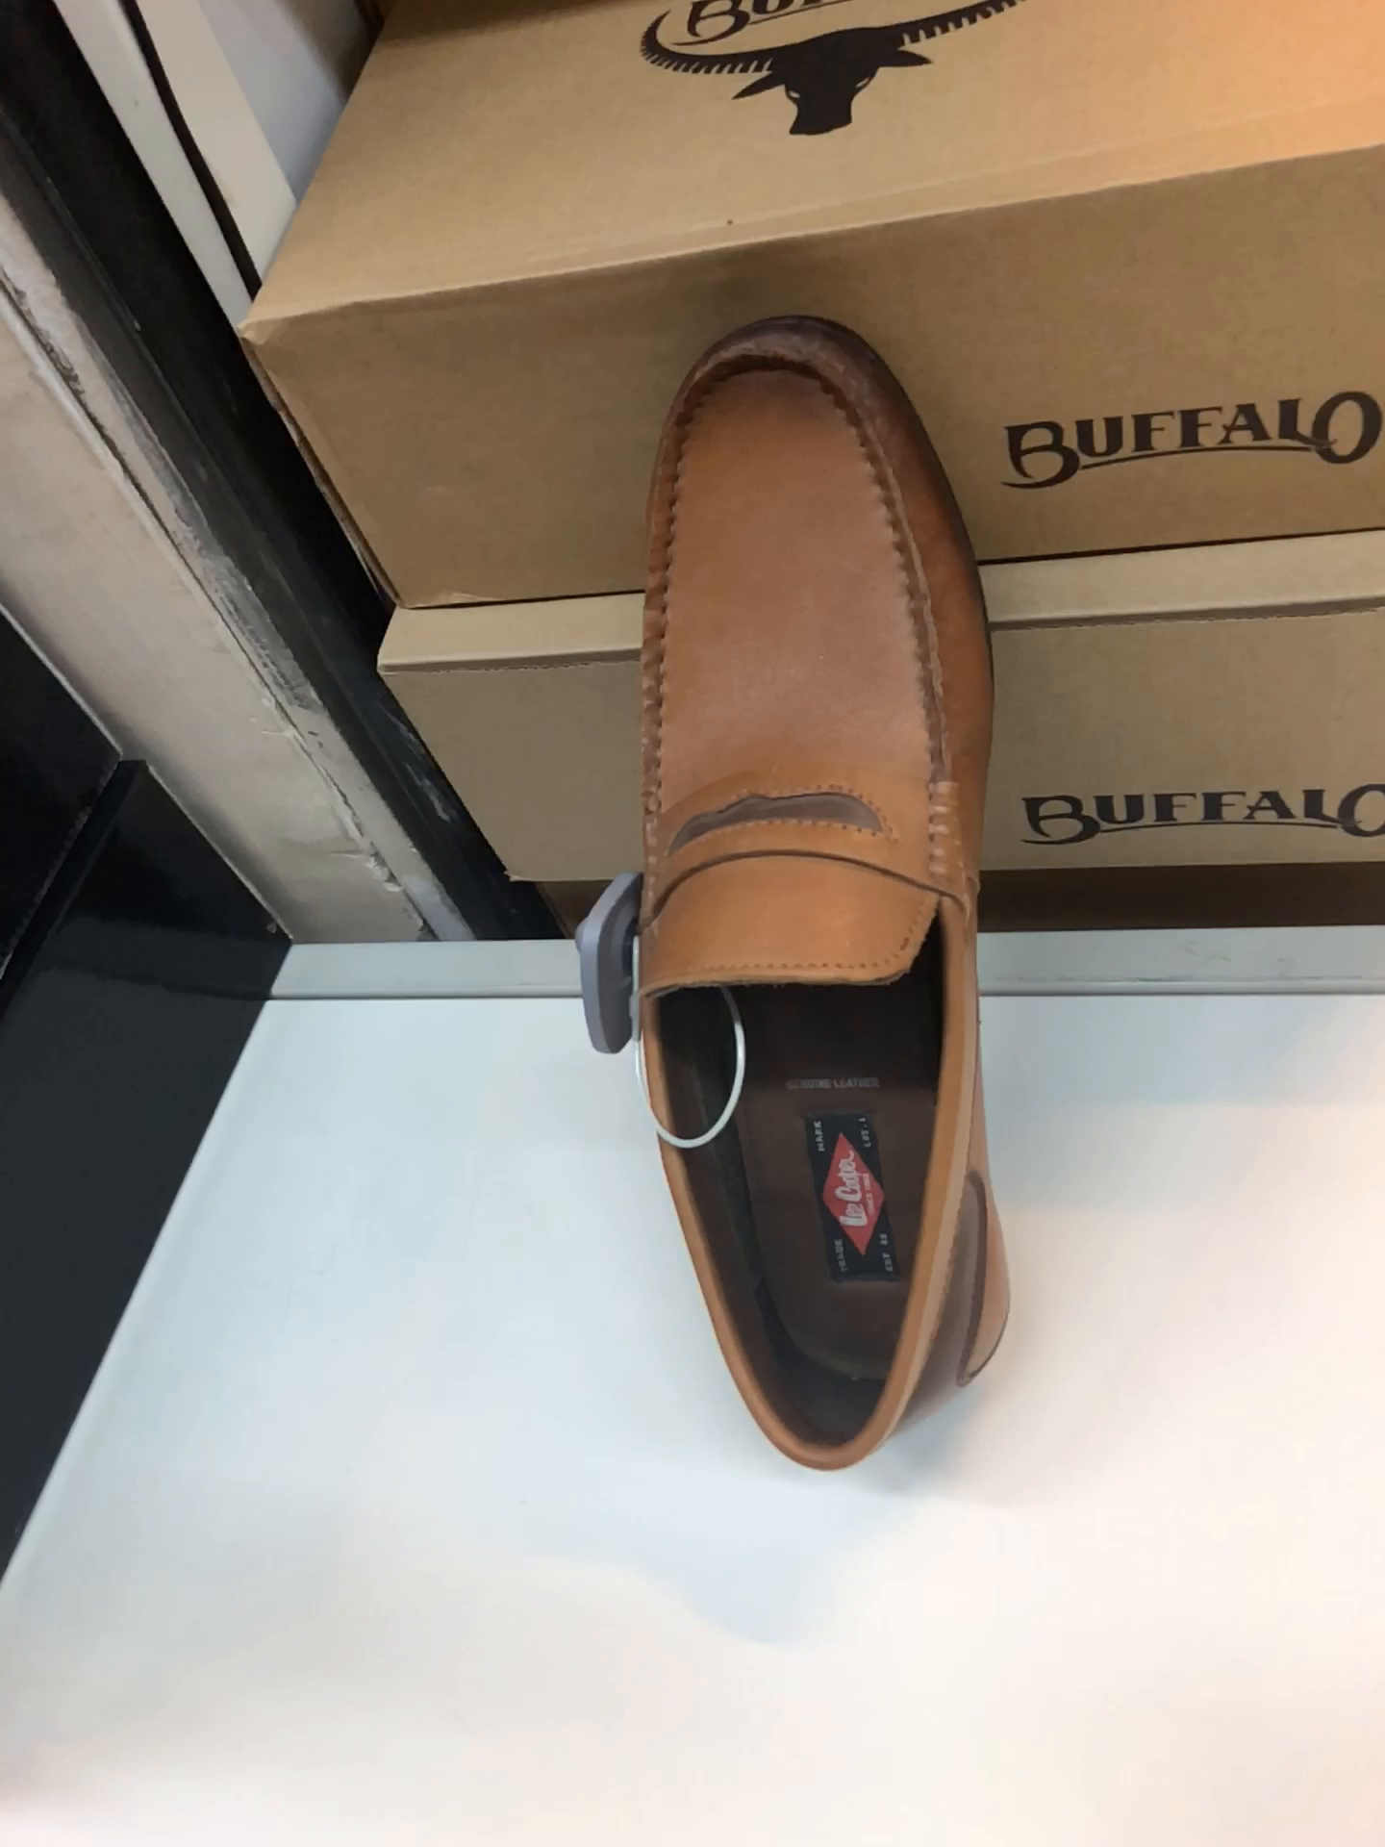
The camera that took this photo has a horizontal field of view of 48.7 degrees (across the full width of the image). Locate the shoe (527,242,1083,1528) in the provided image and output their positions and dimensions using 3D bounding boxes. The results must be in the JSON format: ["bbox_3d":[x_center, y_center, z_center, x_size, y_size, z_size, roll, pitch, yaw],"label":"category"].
[{"bbox_3d":[0.038,-0.008,0.415,0.103,0.103,0.294,-2,96,23],"label":"shoe"}]
